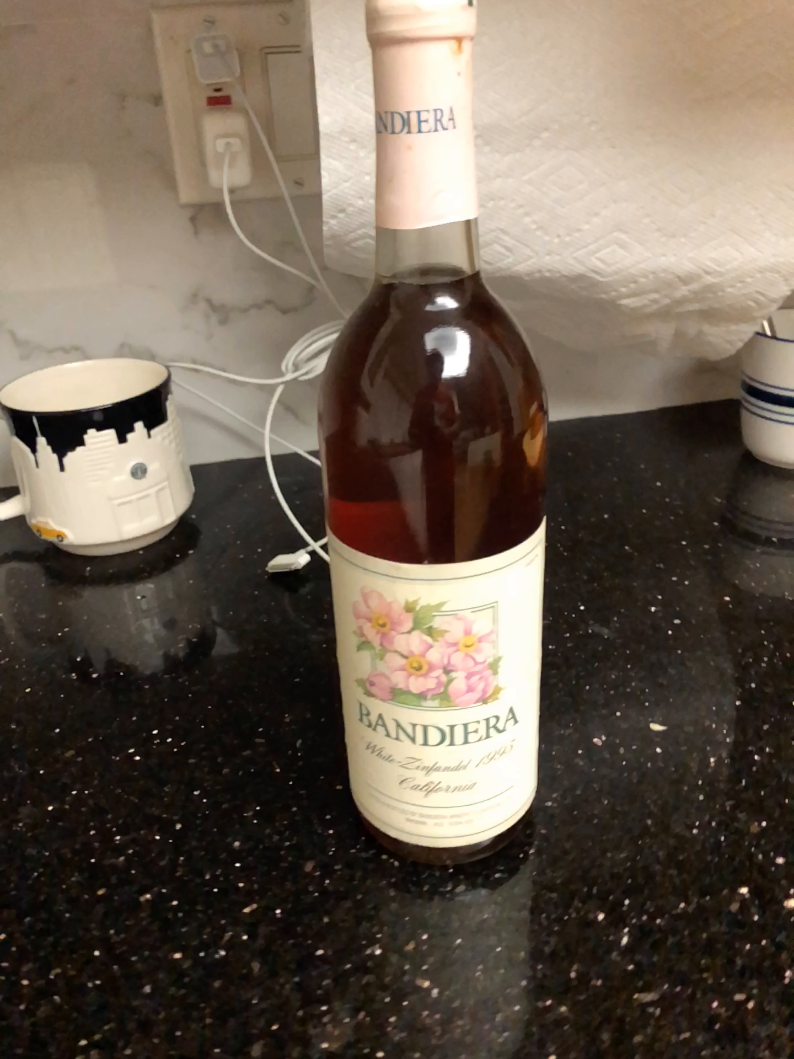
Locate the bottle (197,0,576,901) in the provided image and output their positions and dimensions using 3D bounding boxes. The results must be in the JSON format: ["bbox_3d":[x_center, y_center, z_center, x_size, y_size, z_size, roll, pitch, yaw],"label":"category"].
[{"bbox_3d":[0.009,-0.014,0.283,0.080,0.278,0.080,-2,28,1],"label":"bottle"}]
